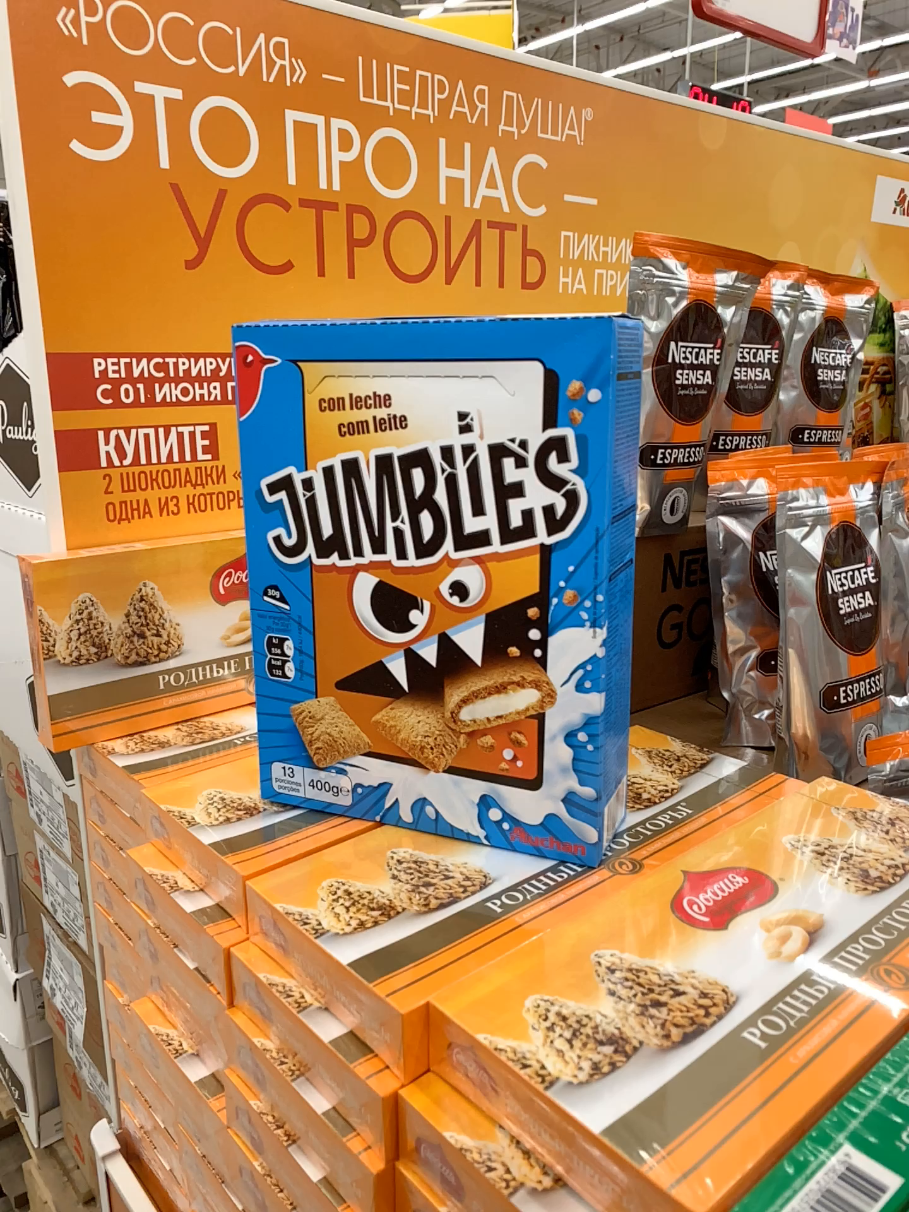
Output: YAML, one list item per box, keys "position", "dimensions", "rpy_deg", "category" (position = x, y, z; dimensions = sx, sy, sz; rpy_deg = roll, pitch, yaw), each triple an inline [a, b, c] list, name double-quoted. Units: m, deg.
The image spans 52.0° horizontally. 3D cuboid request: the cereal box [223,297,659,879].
- position: [-0.008, -0.015, 0.472]
  dimensions: [0.200, 0.259, 0.060]
  rpy_deg: [5, 15, 23]
  category: "cereal box"
